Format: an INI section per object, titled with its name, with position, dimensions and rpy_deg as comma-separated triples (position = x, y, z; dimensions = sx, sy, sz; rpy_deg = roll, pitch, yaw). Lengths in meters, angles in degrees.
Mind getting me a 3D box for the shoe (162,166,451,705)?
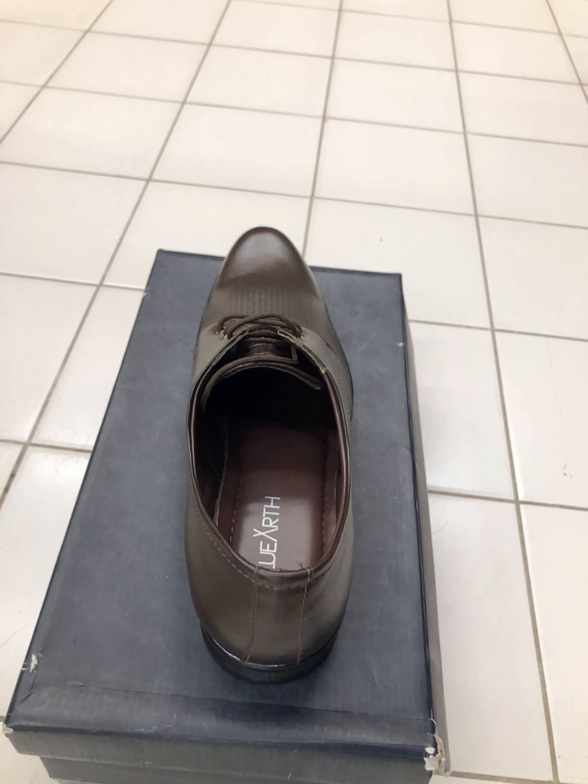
[shoe]
position = -0.004, 0.004, 0.368
dimensions = 0.104, 0.109, 0.292
rpy_deg = 2, 50, -5
